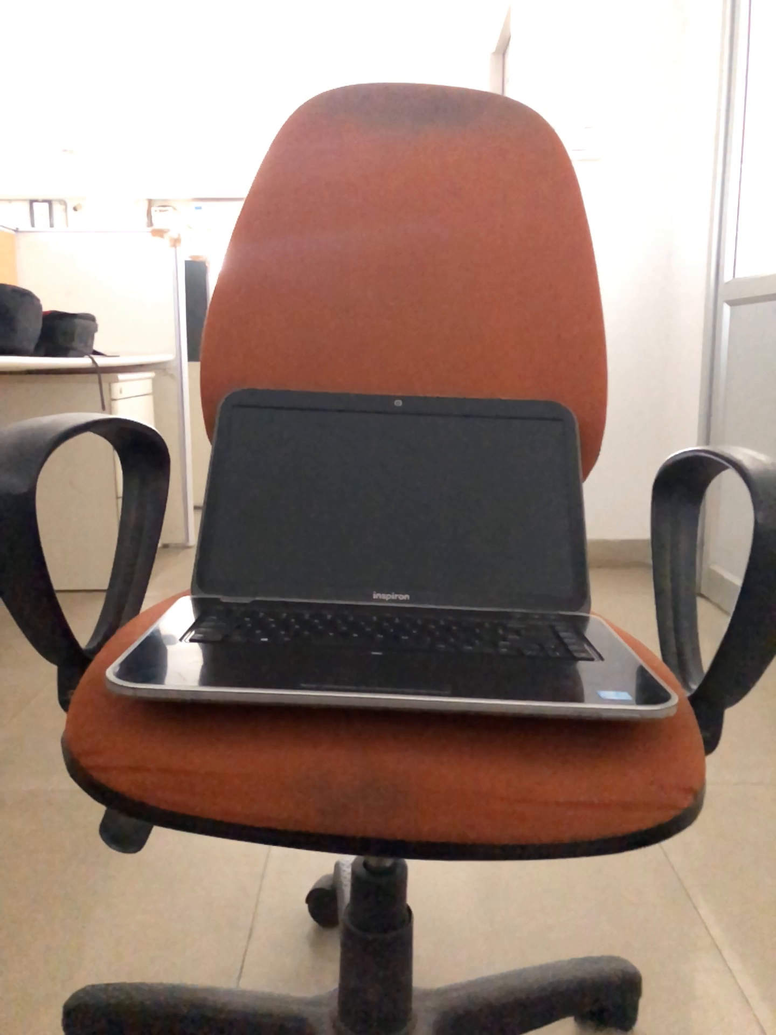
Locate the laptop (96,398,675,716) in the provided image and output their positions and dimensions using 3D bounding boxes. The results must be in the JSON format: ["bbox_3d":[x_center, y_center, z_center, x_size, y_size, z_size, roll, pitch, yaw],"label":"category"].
[{"bbox_3d":[-0.002,0.001,0.704,0.352,0.173,0.351,1,11,2],"label":"laptop"}]
